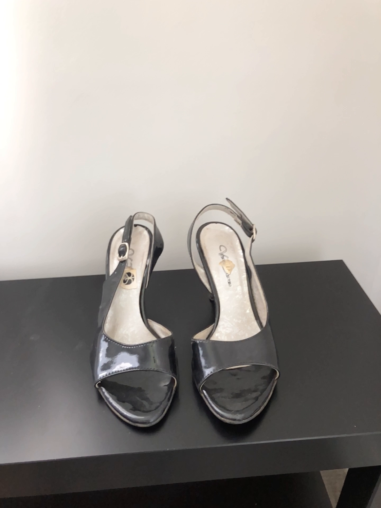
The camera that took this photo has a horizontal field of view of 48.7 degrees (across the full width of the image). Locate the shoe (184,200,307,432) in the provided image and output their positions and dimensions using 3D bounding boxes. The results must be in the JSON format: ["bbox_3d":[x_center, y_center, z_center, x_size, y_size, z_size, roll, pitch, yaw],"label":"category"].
[{"bbox_3d":[0.037,0.044,0.407,0.083,0.110,0.211,-1,32,0],"label":"shoe"}]

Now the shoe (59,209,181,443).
[{"bbox_3d":[-0.064,0.054,0.417,0.083,0.110,0.211,-5,32,-6],"label":"shoe"}]
